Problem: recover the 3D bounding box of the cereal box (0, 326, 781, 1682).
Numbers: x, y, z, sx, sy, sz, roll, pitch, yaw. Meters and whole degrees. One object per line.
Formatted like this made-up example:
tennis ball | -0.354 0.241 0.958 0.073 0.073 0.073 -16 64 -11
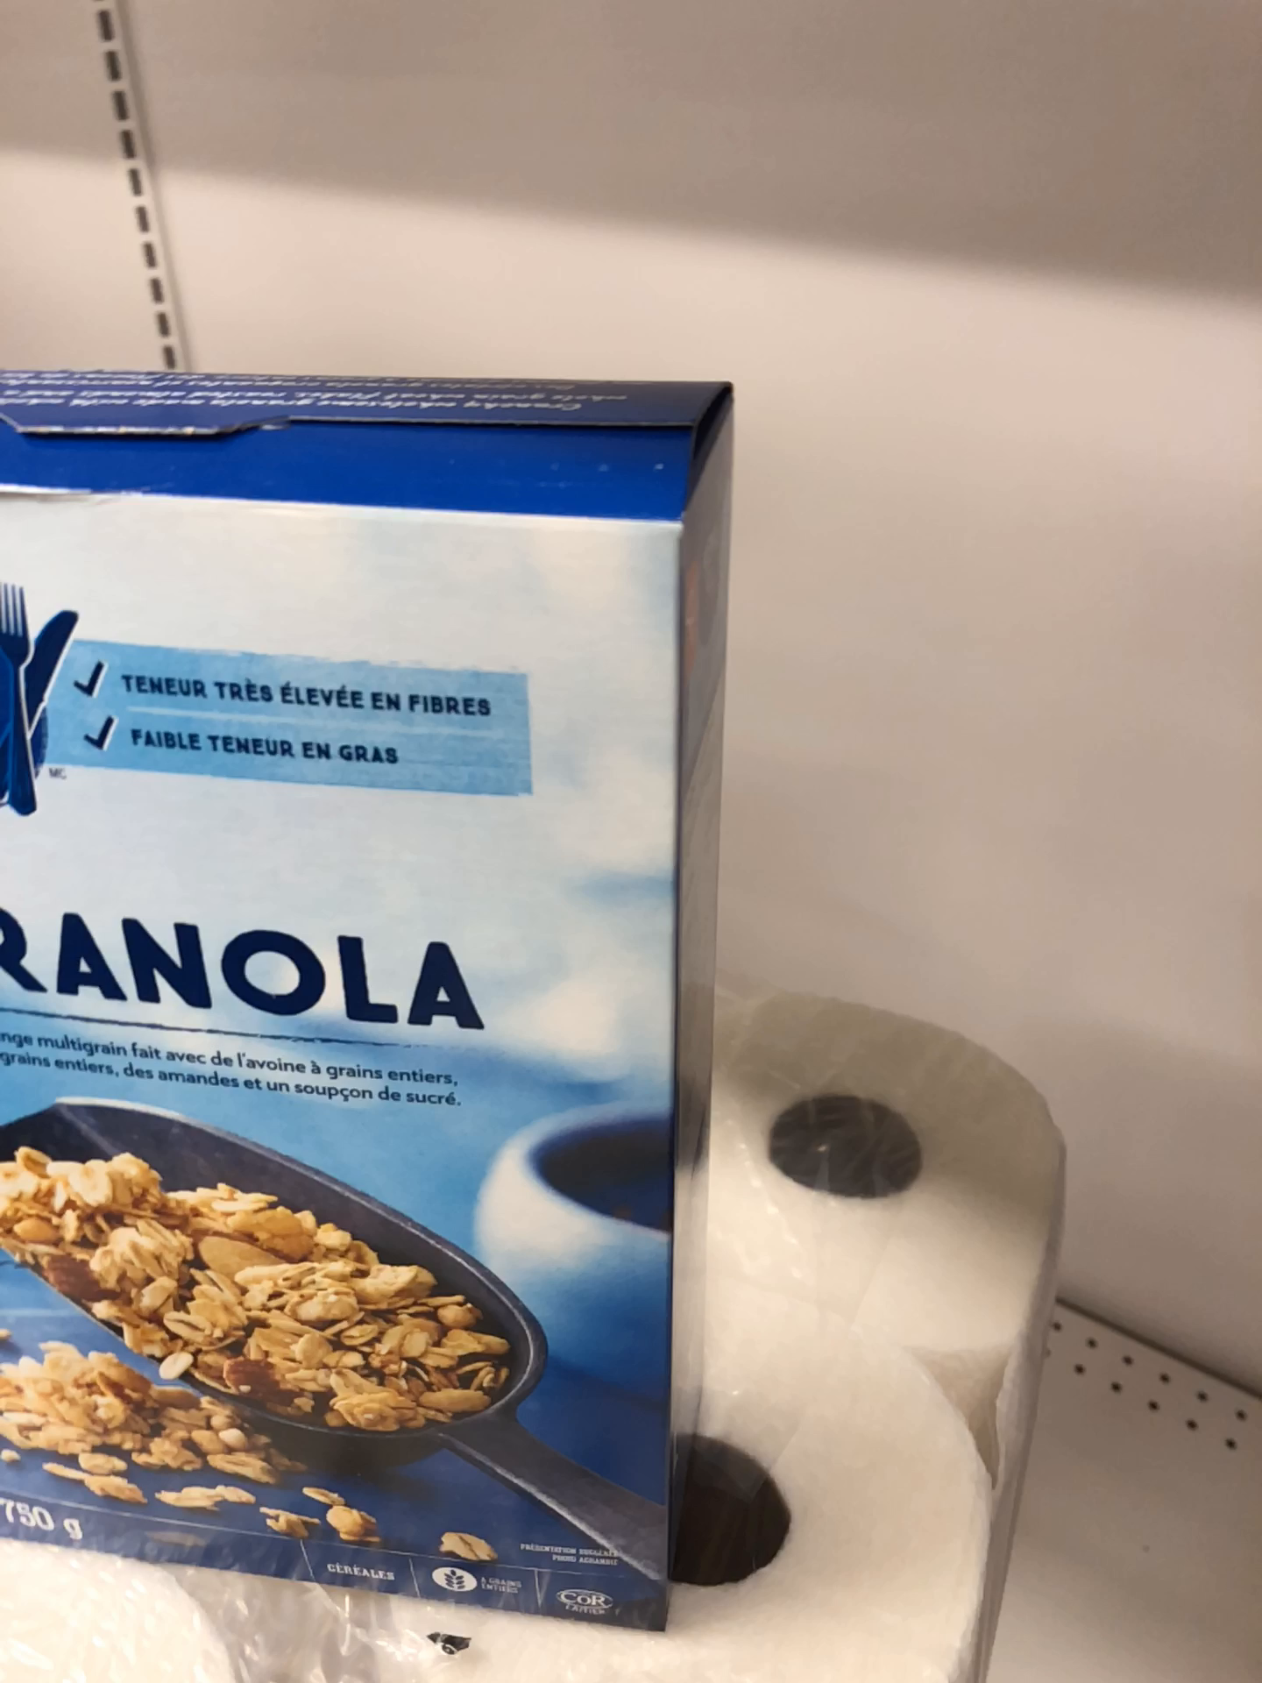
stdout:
cereal box | -0.061 0.041 0.253 0.160 0.239 0.060 5 32 10
